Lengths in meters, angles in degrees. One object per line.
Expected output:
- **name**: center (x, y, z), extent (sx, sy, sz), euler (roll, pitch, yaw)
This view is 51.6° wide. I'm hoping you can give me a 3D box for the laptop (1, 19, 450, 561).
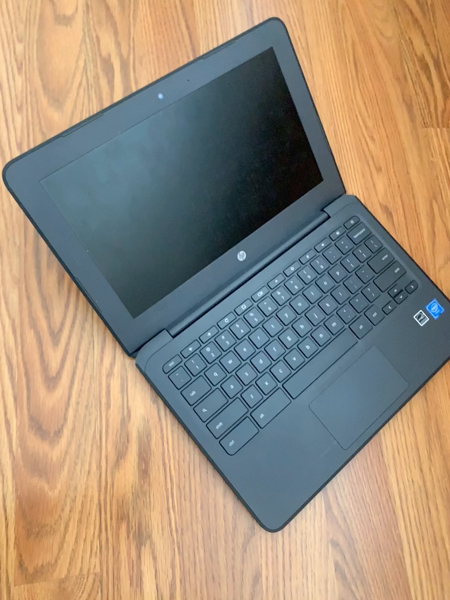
- **laptop**: center (0.048, -0.032, 0.433), extent (0.299, 0.110, 0.360), euler (-38, 82, -17)
